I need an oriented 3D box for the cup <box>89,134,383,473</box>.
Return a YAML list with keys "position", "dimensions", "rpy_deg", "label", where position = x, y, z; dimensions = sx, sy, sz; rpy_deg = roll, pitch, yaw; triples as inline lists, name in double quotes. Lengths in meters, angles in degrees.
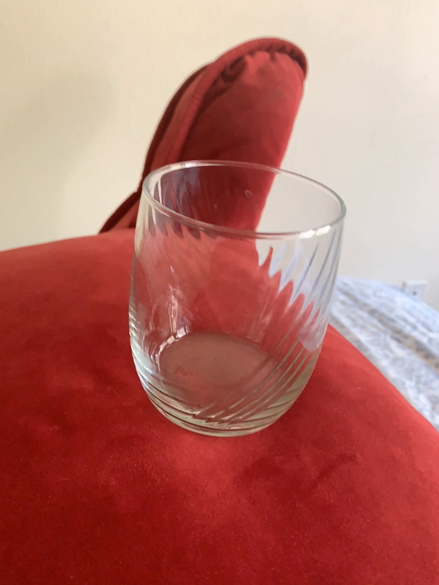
- position: [0.009, -0.002, 0.179]
  dimensions: [0.080, 0.090, 0.080]
  rpy_deg: [3, 32, -2]
  label: "cup"
